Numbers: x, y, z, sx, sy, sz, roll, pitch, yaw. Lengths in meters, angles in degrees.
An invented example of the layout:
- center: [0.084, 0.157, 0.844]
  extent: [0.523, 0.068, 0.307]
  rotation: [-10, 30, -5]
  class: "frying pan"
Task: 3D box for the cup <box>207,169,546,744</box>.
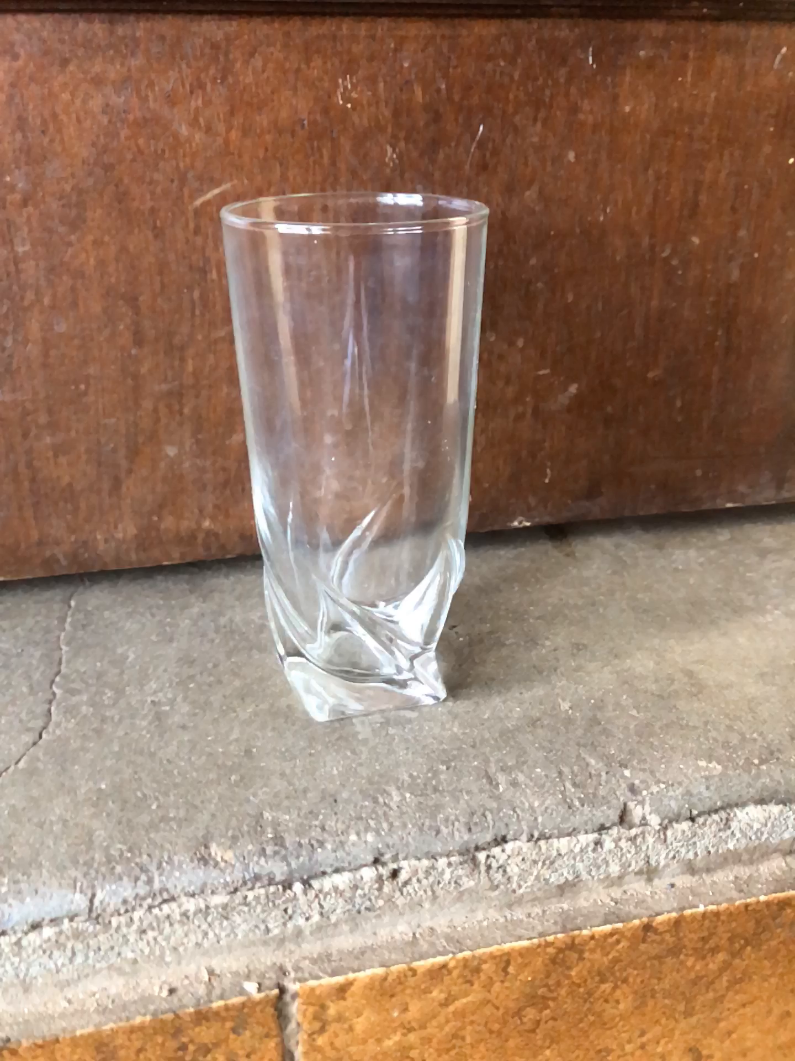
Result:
- center: [-0.008, -0.022, 0.244]
  extent: [0.070, 0.139, 0.060]
  rotation: [-7, 27, -13]
  class: "cup"
